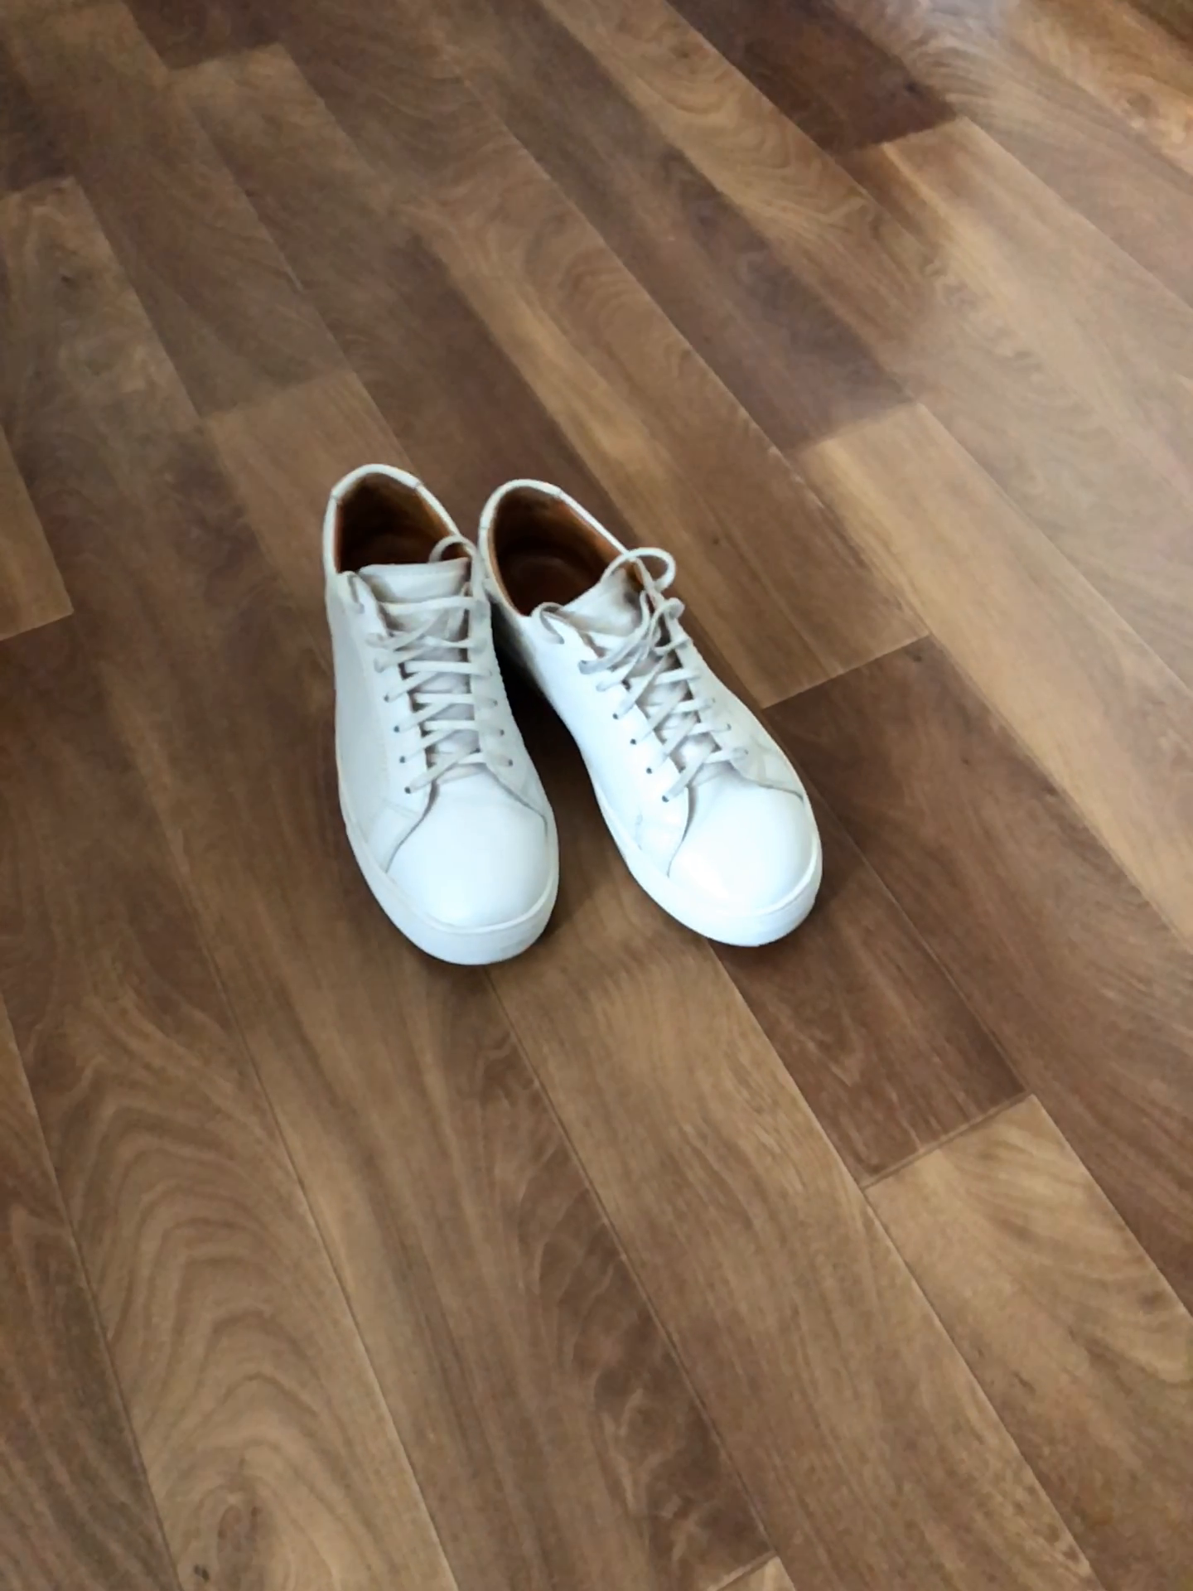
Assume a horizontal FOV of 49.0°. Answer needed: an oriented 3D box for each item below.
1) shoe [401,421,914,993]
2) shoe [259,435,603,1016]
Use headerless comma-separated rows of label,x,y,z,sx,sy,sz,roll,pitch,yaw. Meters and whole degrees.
shoe,0.021,-0.054,0.670,0.110,0.090,0.281,-29,62,-16
shoe,-0.089,-0.045,0.671,0.110,0.090,0.281,-14,59,-8
